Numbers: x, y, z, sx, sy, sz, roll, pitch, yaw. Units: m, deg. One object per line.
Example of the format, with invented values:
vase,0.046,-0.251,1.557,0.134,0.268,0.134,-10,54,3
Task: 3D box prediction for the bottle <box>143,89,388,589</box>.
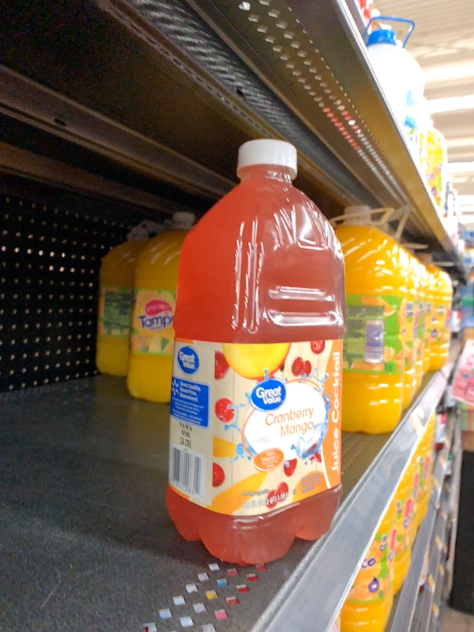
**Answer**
bottle,0.019,0.012,0.345,0.119,0.273,0.101,1,3,-42
